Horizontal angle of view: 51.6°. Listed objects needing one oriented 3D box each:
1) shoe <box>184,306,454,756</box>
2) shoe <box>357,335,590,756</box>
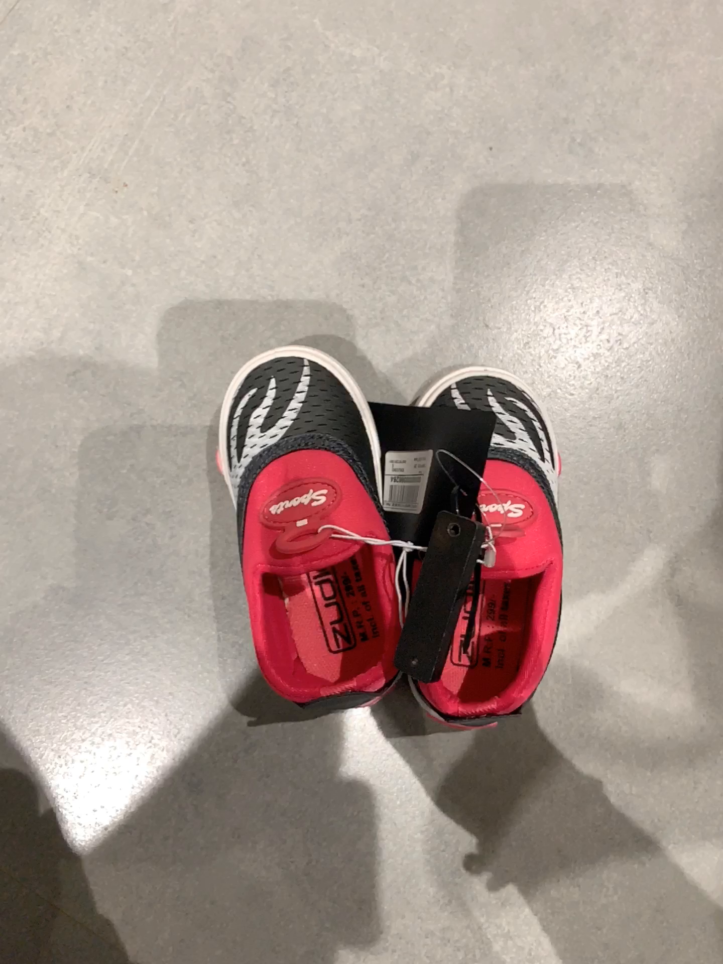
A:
[{"bbox_3d":[-0.016,0.017,0.280,0.060,0.060,0.140,-13,87,-3],"label":"shoe"},{"bbox_3d":[0.040,0.023,0.289,0.070,0.060,0.140,5,86,-1],"label":"shoe"}]
